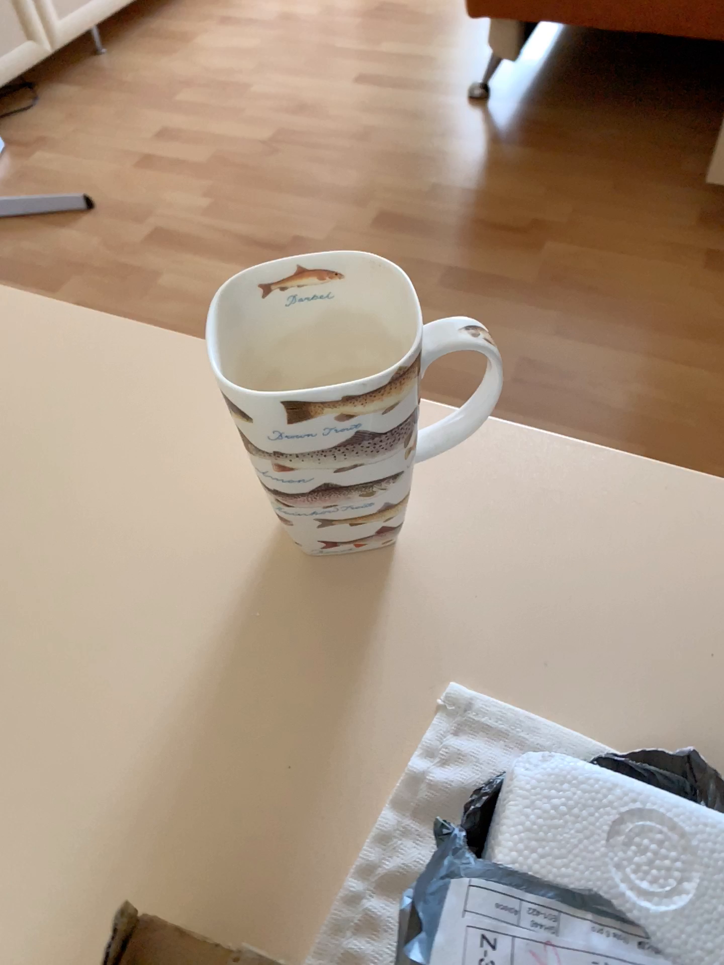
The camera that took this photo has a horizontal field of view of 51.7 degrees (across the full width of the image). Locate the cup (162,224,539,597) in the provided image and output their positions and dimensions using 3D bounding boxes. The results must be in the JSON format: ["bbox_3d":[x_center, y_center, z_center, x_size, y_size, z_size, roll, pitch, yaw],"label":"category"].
[{"bbox_3d":[-0.005,-0.029,0.346,0.138,0.122,0.092,-10,51,-2],"label":"cup"}]
